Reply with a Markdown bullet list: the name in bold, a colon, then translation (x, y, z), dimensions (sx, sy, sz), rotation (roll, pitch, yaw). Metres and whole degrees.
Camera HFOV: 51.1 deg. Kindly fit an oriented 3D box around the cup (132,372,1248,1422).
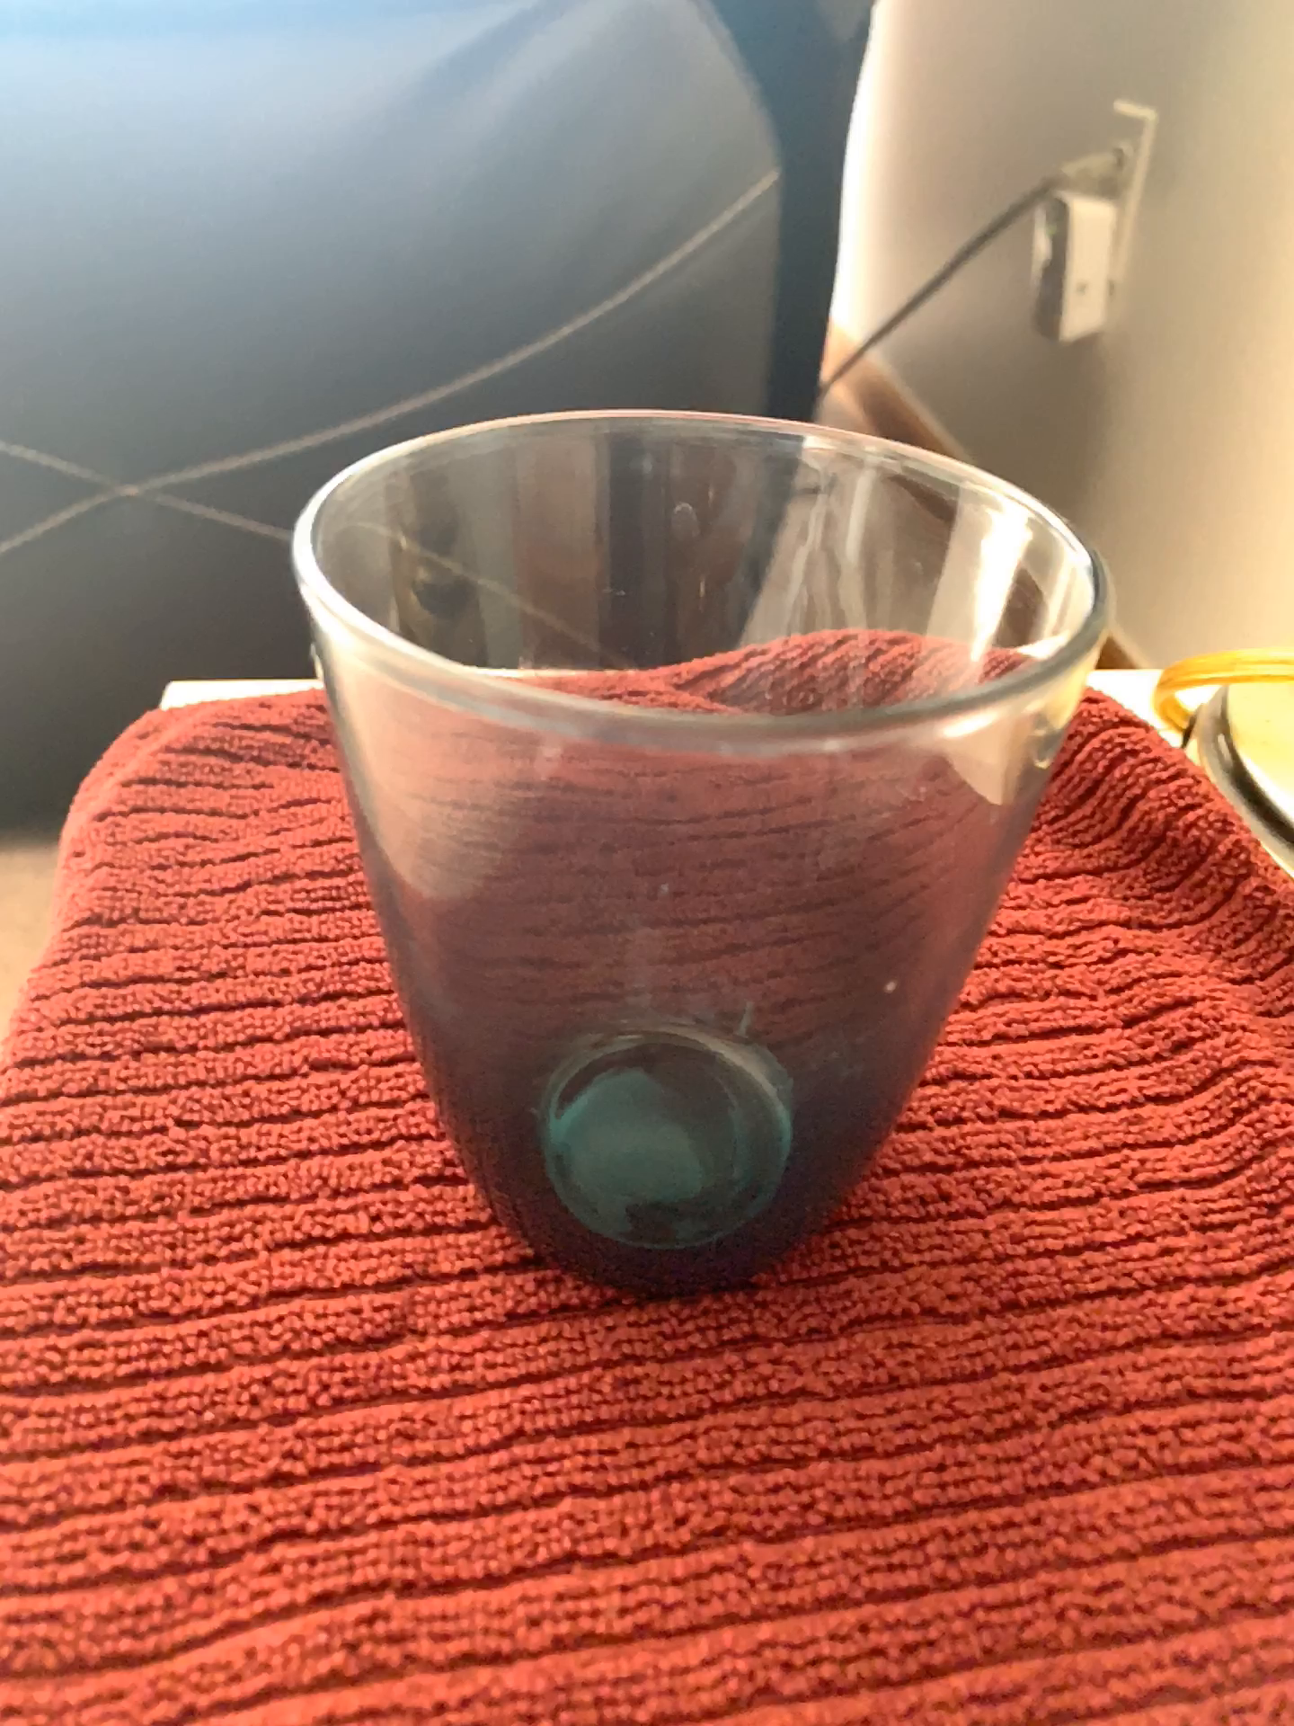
- **cup**: translation (-0.002, -0.007, 0.160), dimensions (0.084, 0.070, 0.087), rotation (3, 34, -2)
